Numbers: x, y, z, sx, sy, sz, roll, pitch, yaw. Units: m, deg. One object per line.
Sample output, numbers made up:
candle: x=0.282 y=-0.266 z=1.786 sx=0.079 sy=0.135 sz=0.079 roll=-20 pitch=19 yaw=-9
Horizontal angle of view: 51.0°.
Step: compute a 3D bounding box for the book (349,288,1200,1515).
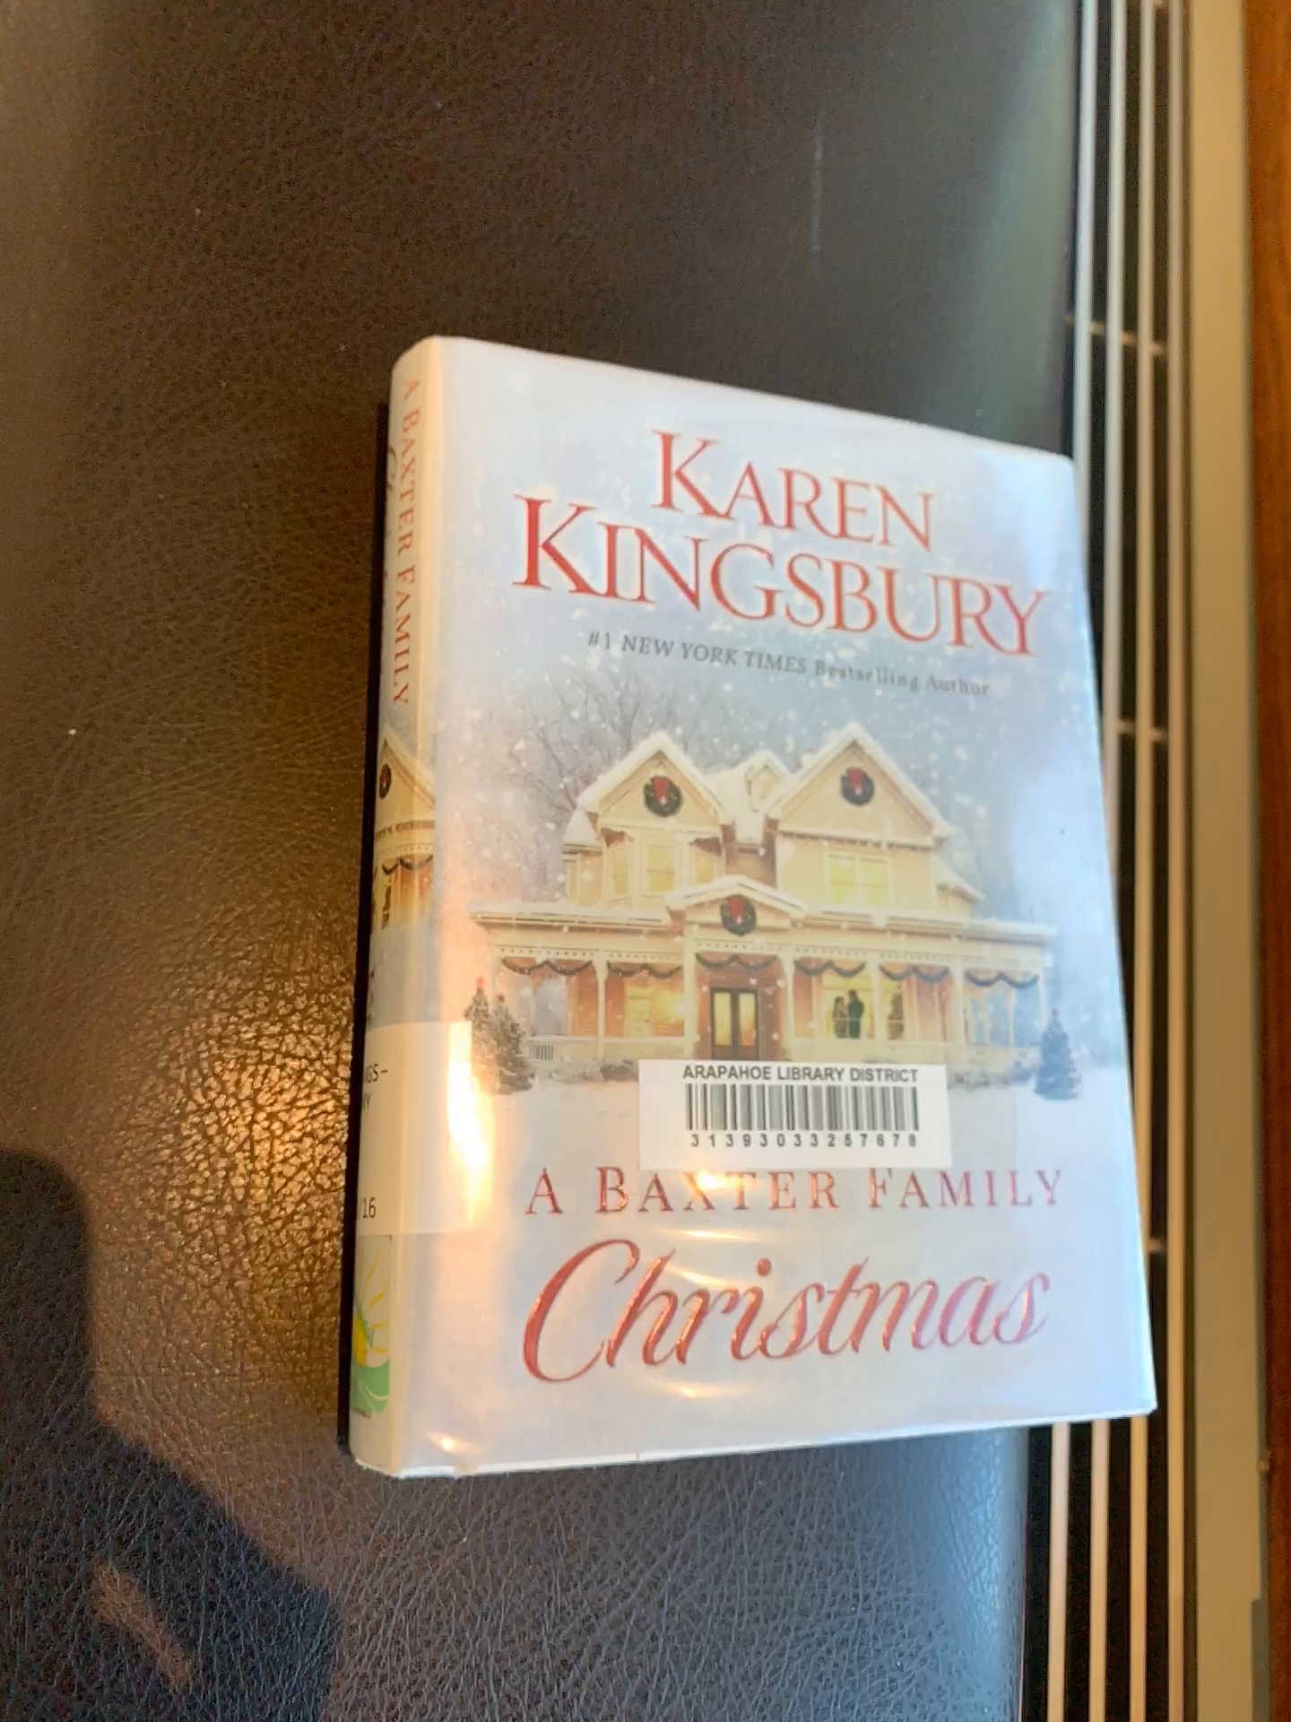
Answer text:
book: x=0.023 y=0.004 z=0.228 sx=0.135 sy=0.023 sz=0.180 roll=4 pitch=78 yaw=-19
